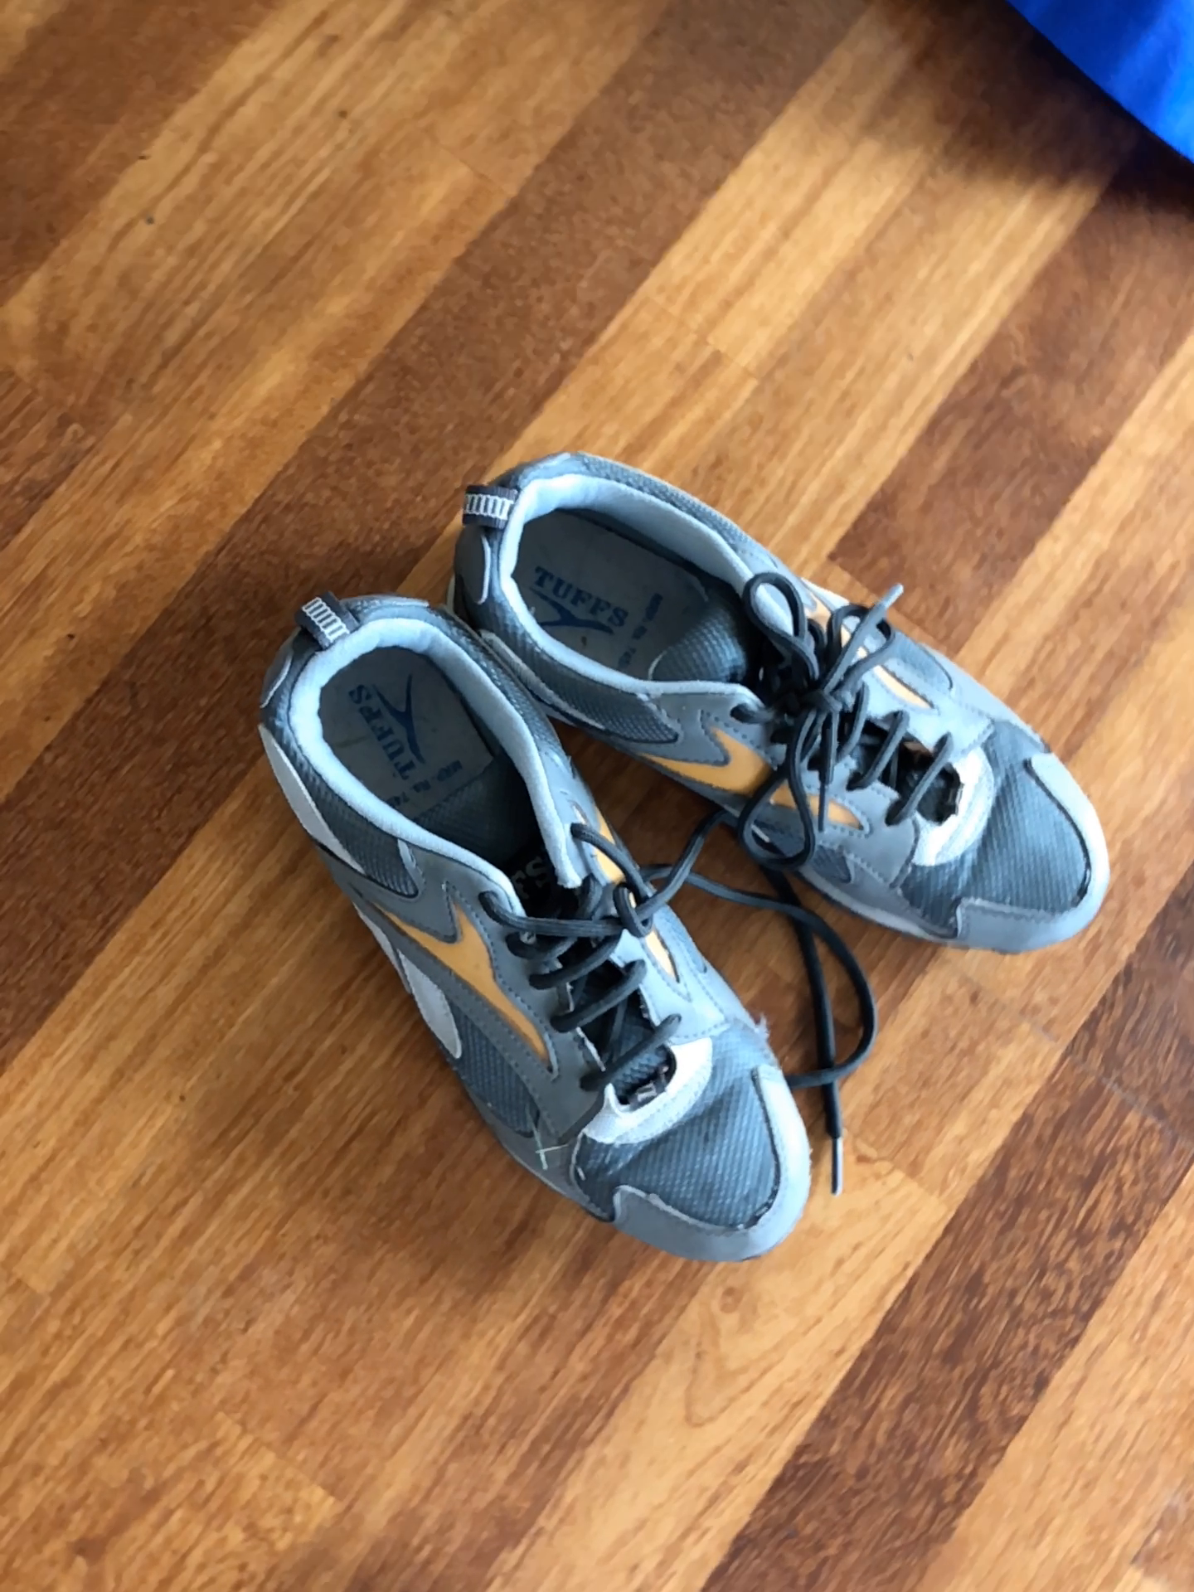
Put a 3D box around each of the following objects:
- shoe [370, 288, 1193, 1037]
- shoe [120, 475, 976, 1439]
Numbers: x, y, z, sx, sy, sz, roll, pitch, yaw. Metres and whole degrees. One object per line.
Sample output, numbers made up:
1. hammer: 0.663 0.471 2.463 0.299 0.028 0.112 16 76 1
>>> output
1. shoe: 0.073 -0.038 0.472 0.283 0.099 0.112 32 79 0
2. shoe: -0.019 0.049 0.444 0.110 0.088 0.283 -37 87 -11
